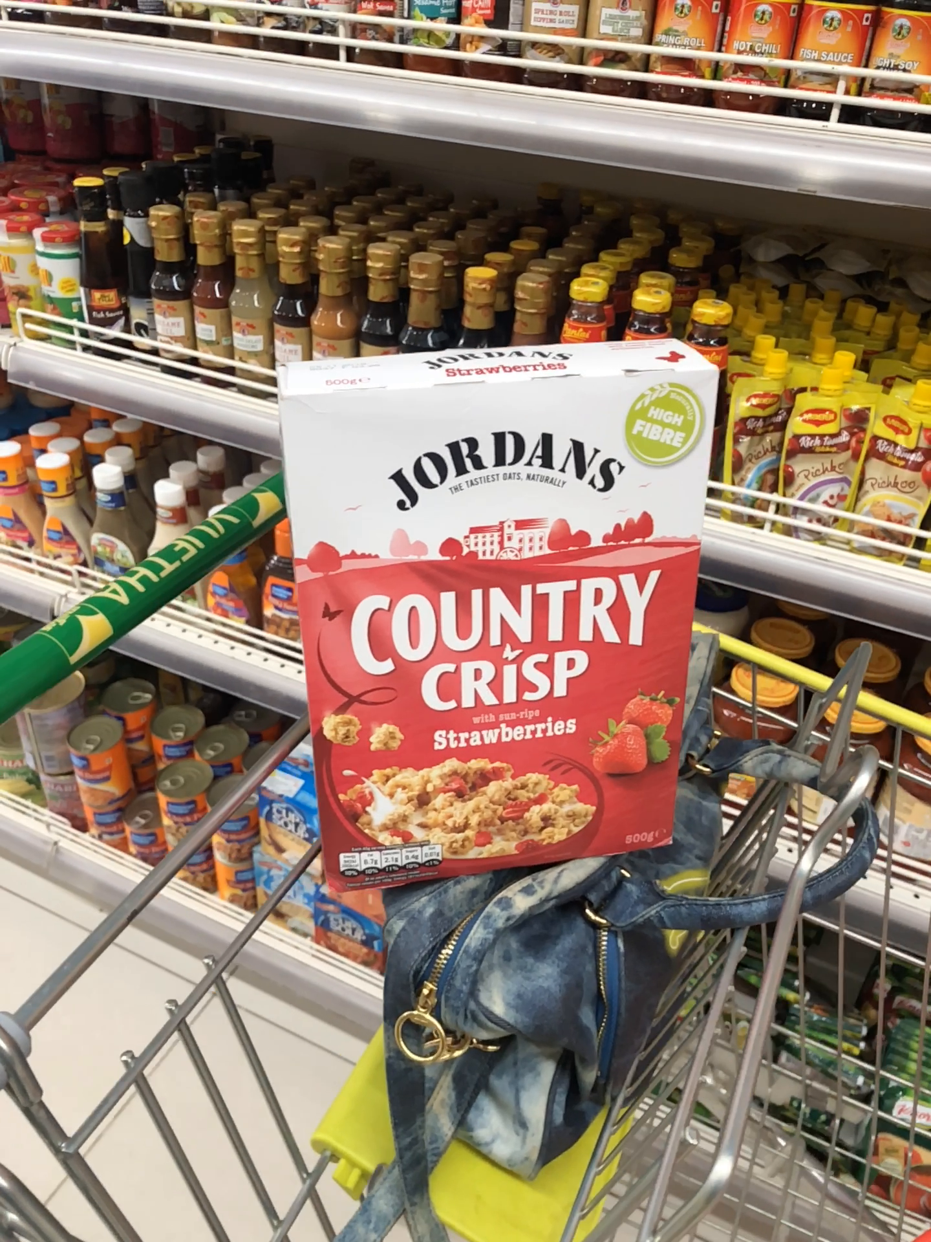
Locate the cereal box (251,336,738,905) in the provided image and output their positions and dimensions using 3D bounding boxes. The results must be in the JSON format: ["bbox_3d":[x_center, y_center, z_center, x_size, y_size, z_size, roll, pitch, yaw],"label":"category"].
[{"bbox_3d":[0.008,0.004,0.481,0.190,0.249,0.060,-5,29,-11],"label":"cereal box"}]
